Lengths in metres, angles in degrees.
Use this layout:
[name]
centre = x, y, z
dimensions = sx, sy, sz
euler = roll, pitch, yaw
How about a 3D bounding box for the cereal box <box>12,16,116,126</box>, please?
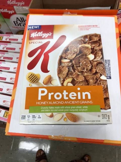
[cereal box]
centre = 0.006, -0.027, 0.329
dimensions = 0.200, 0.060, 0.260
euler = -1, 71, 3
